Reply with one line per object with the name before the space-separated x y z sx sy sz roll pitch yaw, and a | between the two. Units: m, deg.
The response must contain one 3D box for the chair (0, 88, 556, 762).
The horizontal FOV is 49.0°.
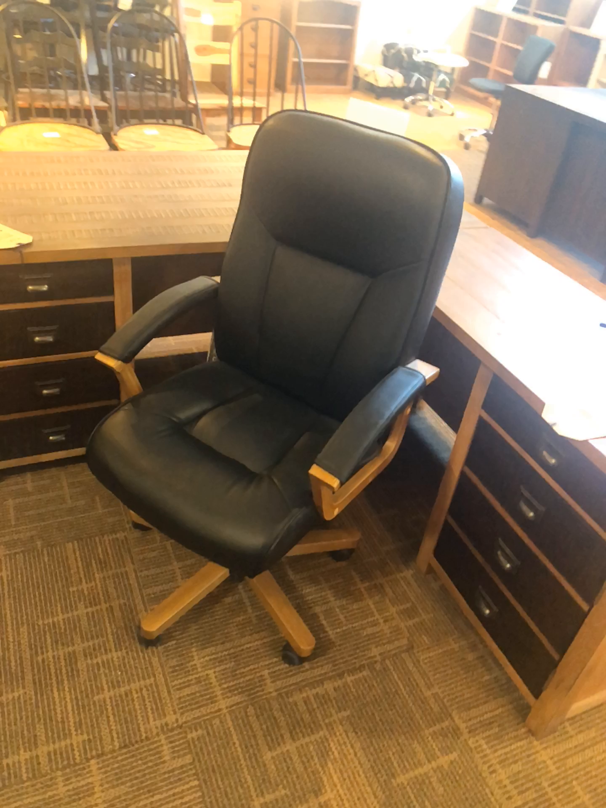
chair | -0.102 -0.002 1.500 0.739 1.104 0.745 30 41 27
